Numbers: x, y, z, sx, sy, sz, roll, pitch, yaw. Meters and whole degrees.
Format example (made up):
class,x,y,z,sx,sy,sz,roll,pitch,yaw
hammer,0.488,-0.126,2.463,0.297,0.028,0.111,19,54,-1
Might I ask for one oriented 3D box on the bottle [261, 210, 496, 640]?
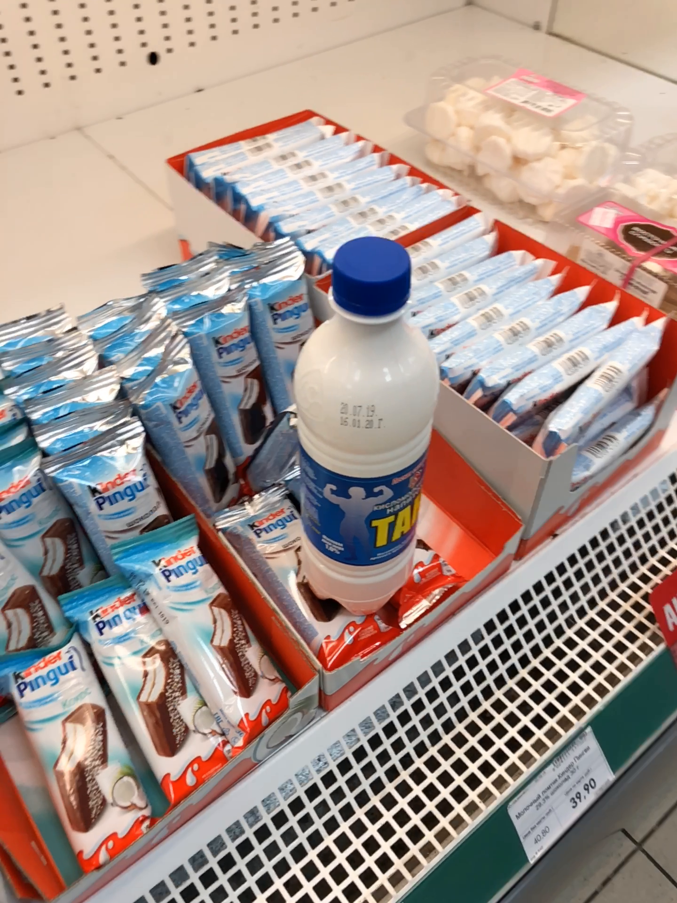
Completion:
class,x,y,z,sx,sy,sz,roll,pitch,yaw
bottle,0.015,0.001,0.351,0.059,0.203,0.064,0,49,0
